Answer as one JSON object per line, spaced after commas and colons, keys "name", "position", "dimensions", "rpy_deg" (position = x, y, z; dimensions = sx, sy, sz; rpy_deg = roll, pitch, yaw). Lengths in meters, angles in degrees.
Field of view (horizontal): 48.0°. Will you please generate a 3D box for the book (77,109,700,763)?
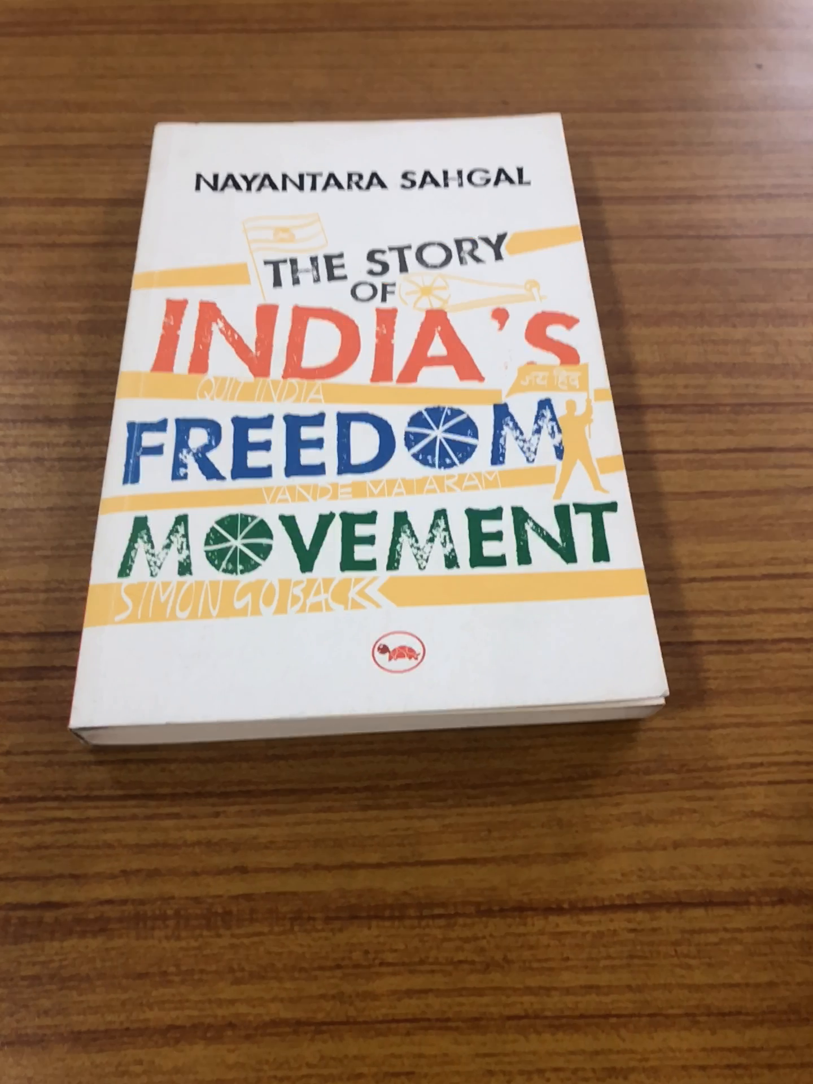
{"name": "book", "position": [-0.007, -0.041, 0.249], "dimensions": [0.130, 0.030, 0.190], "rpy_deg": [-2, 62, -1]}
